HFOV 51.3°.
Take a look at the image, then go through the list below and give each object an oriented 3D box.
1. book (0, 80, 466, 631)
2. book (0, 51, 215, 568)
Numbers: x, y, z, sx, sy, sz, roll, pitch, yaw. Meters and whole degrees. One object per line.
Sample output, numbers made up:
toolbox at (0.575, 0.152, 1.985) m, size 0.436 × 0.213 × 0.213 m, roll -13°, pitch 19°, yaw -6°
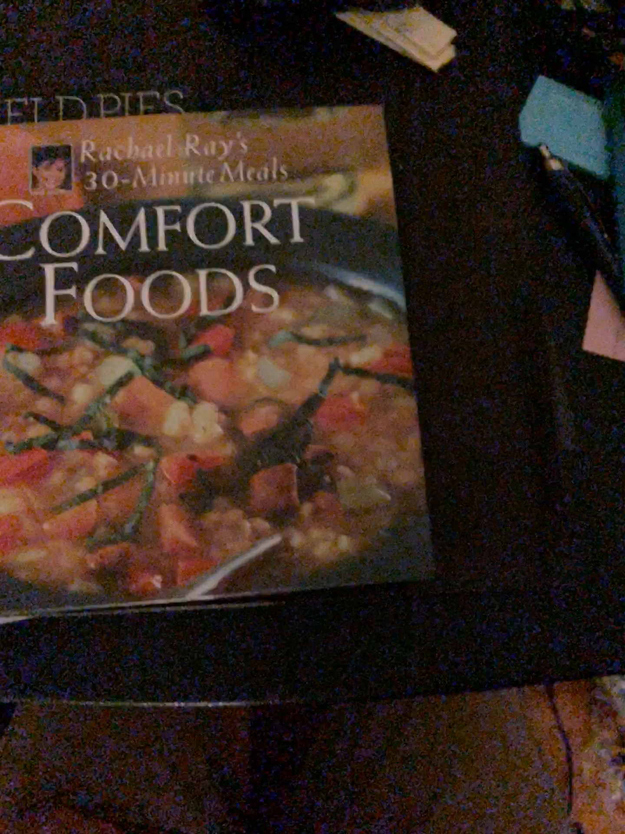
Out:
book at (-0.053, -0.032, 0.267) m, size 0.200 × 0.020 × 0.210 m, roll -5°, pitch 78°, yaw -1°
book at (-0.139, -0.053, 0.287) m, size 0.180 × 0.020 × 0.220 m, roll -4°, pitch 78°, yaw -1°
